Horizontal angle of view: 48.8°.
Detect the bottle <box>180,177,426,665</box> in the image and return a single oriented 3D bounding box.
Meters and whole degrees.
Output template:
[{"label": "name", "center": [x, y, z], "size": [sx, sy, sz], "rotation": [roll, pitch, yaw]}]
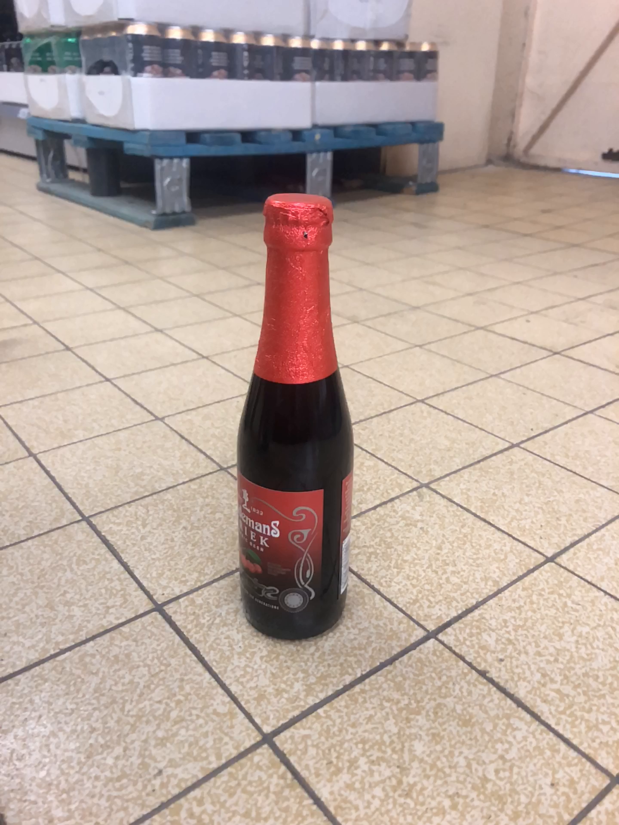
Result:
[{"label": "bottle", "center": [-0.006, 0.003, 0.310], "size": [0.070, 0.199, 0.070], "rotation": [1, 25, 0]}]
